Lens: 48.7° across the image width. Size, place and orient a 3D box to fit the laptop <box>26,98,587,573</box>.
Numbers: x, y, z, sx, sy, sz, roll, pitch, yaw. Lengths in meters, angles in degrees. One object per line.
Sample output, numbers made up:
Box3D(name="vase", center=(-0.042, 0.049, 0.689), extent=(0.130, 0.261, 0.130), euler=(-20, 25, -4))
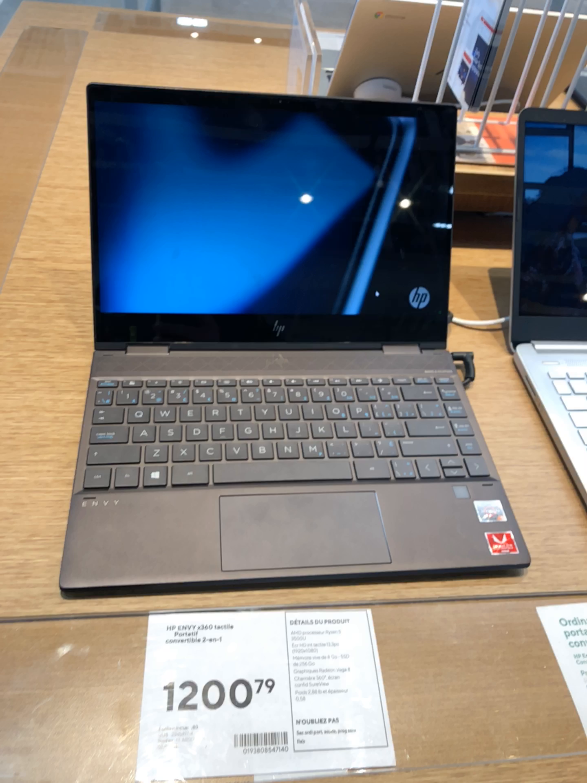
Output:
Box3D(name="laptop", center=(0.002, -0.062, 0.476), extent=(0.293, 0.162, 0.319), euler=(-1, 46, -9))
